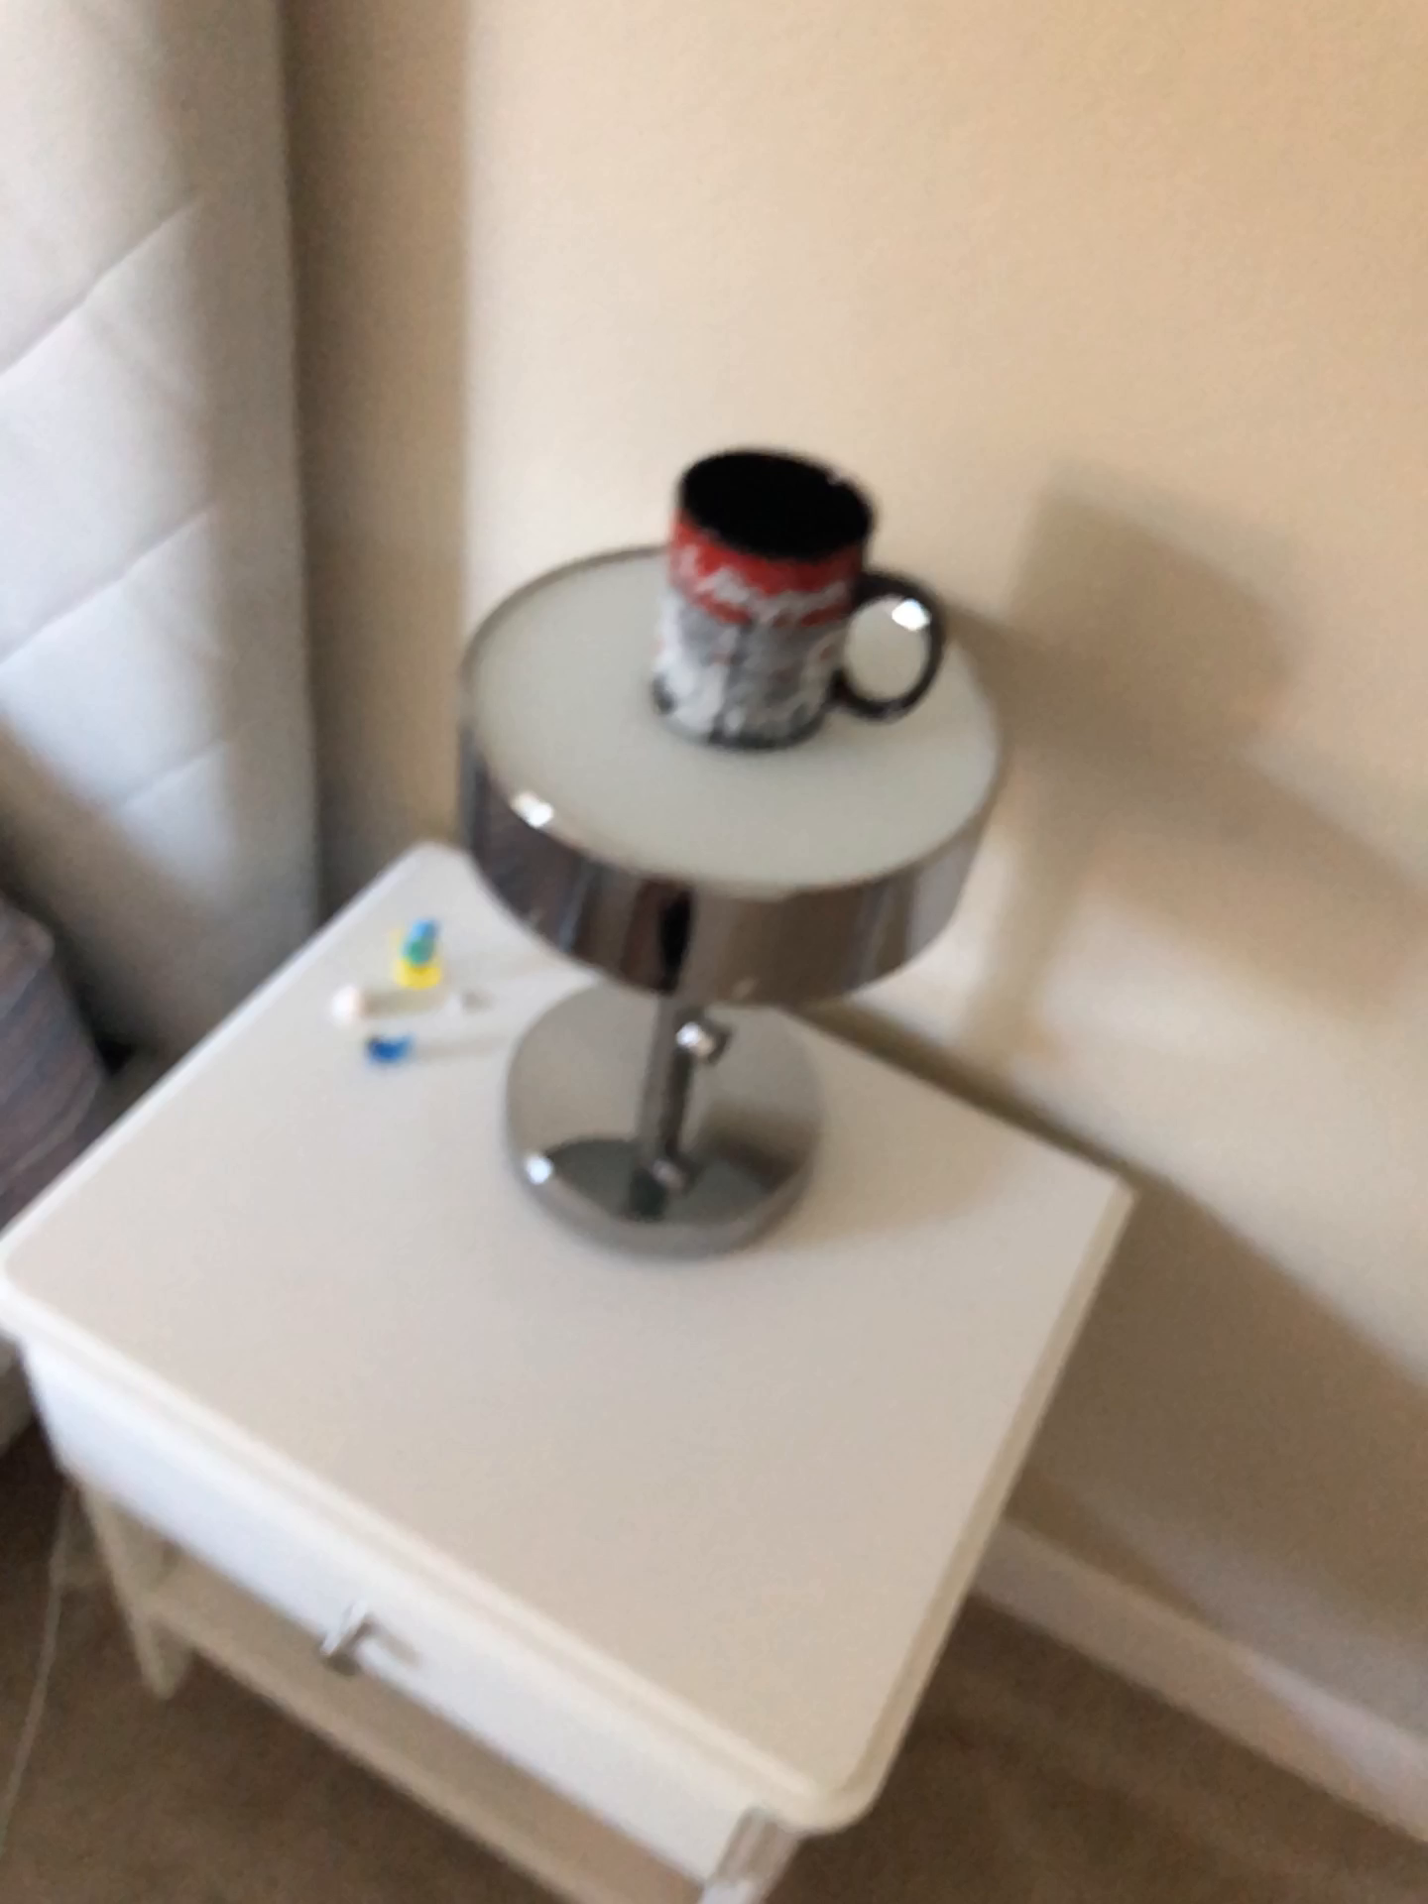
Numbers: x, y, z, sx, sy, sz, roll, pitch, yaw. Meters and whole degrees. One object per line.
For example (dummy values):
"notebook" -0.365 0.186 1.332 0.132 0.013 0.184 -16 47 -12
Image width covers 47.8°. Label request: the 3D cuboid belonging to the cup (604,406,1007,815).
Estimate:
"cup" 0.036 -0.139 0.654 0.130 0.100 0.090 17 46 6
